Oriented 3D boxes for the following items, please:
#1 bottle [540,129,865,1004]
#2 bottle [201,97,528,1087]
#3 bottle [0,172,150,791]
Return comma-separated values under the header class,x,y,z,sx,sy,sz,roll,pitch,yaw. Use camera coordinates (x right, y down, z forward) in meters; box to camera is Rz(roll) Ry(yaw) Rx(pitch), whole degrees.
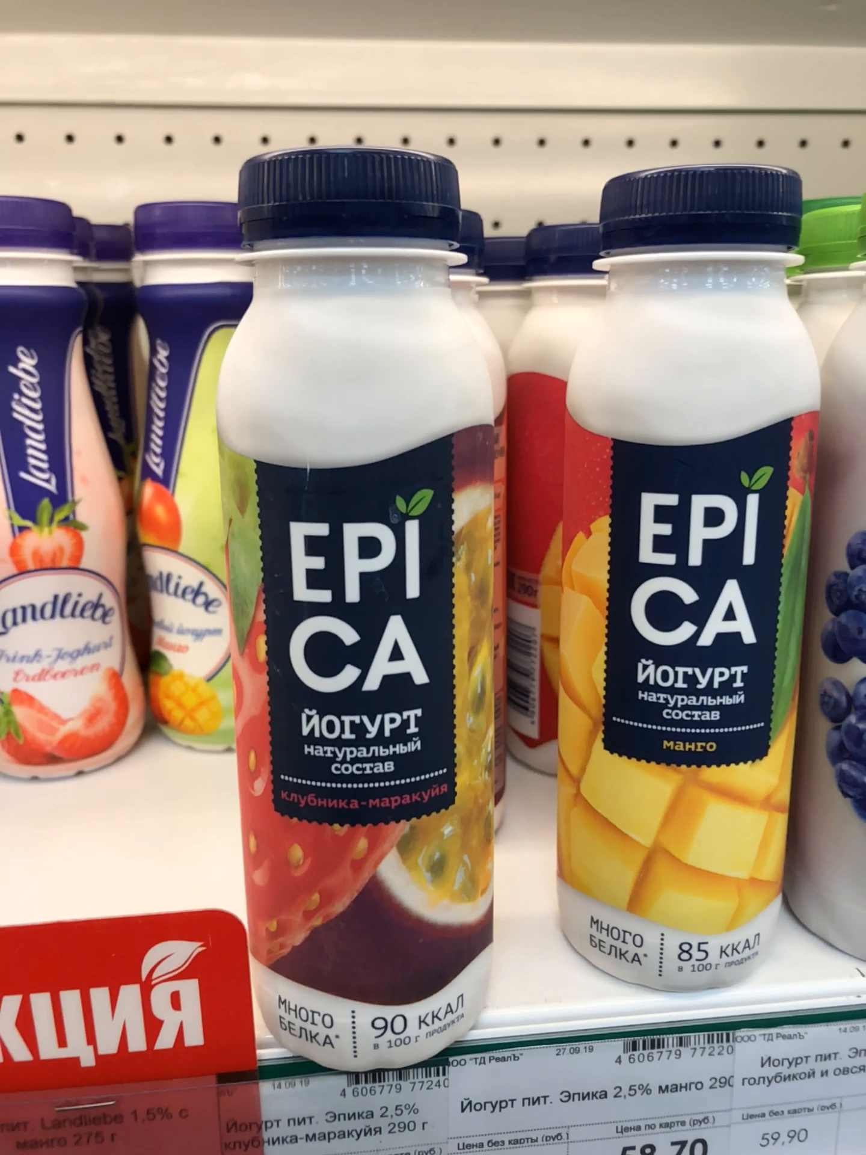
class,x,y,z,sx,sy,sz,roll,pitch,yaw
bottle,0.053,0.001,0.216,0.053,0.177,0.051,-1,15,0
bottle,-0.012,0.007,0.196,0.050,0.180,0.050,-1,15,0
bottle,-0.129,-0.029,0.311,0.053,0.182,0.051,-1,15,0
